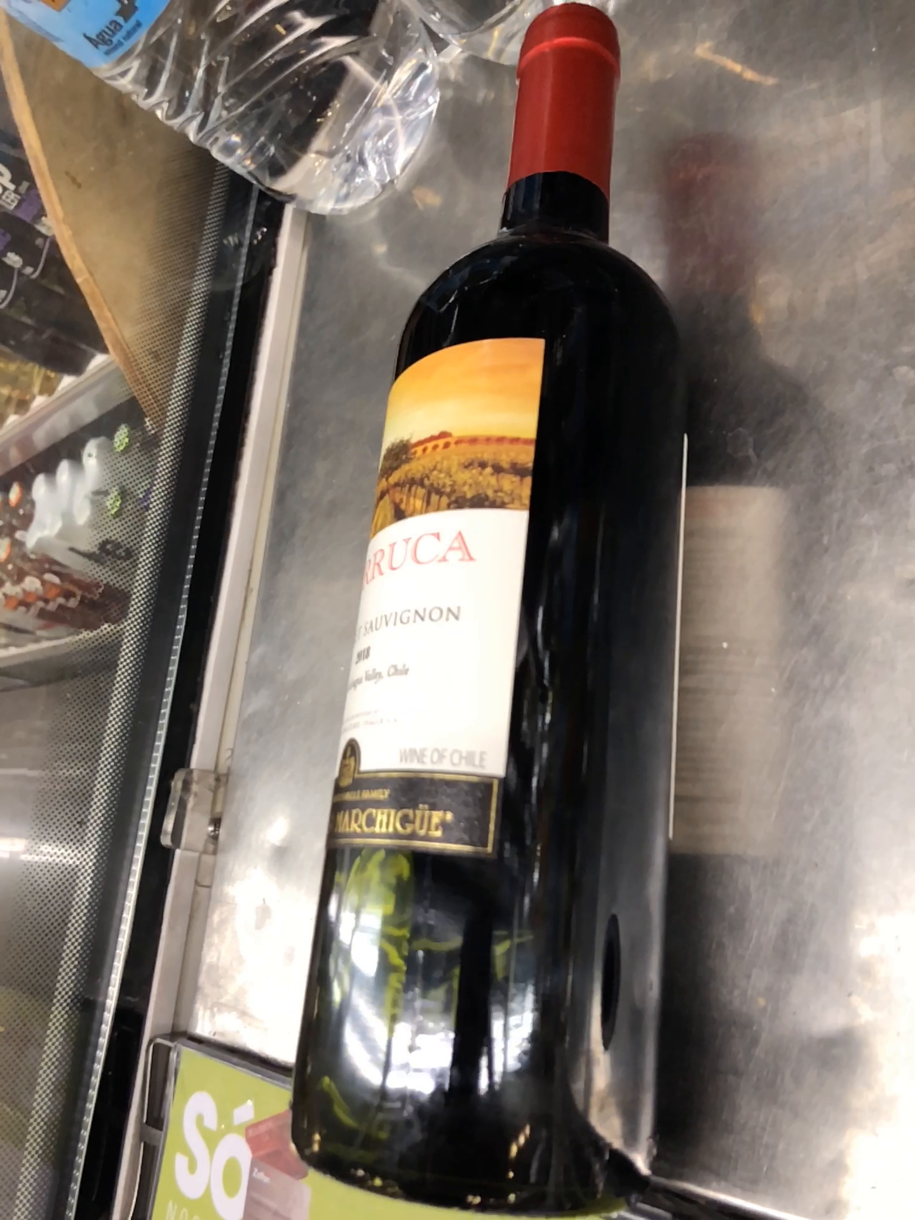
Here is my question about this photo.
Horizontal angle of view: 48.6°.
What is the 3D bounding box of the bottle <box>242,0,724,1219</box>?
[{"bbox_3d":[0.014,-0.036,0.243,0.080,0.050,0.310,-12,67,45],"label":"bottle"}]
